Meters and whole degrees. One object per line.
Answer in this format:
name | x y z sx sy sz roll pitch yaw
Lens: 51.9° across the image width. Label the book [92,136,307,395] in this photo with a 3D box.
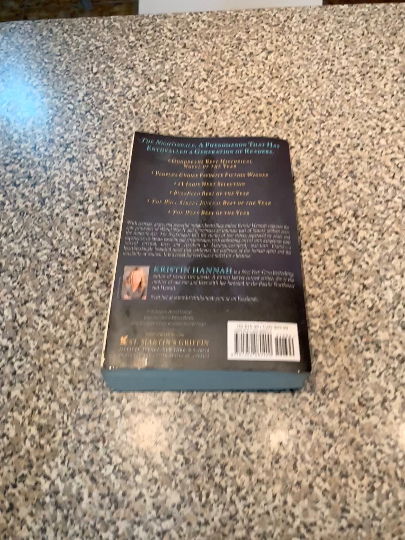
book | 0.003 -0.012 0.341 0.139 0.056 0.207 1 62 3
